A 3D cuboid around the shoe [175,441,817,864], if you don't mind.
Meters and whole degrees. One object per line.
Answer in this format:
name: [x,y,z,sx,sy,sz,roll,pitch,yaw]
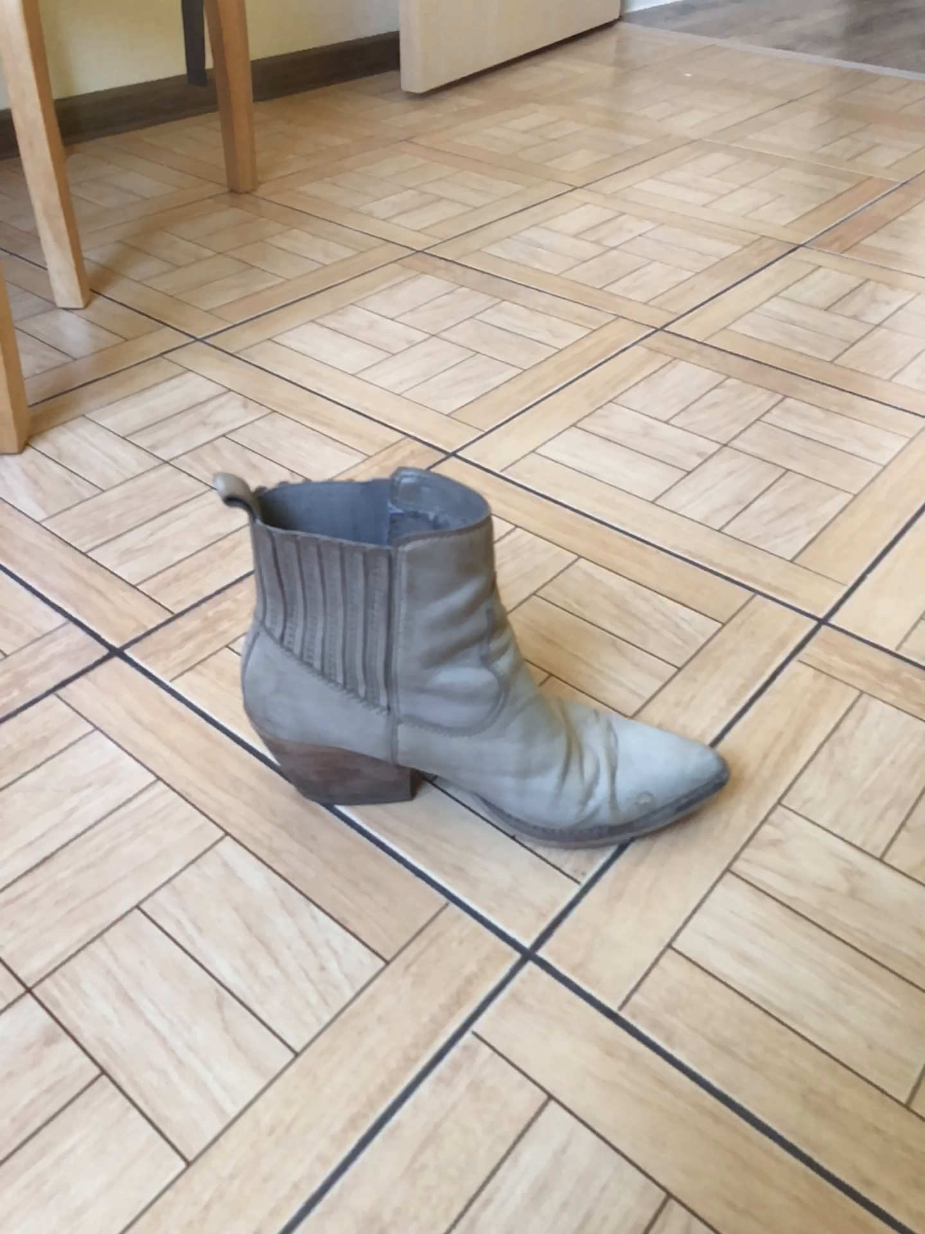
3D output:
shoe: [0.013,0.021,0.503,0.260,0.179,0.090,3,39,1]
